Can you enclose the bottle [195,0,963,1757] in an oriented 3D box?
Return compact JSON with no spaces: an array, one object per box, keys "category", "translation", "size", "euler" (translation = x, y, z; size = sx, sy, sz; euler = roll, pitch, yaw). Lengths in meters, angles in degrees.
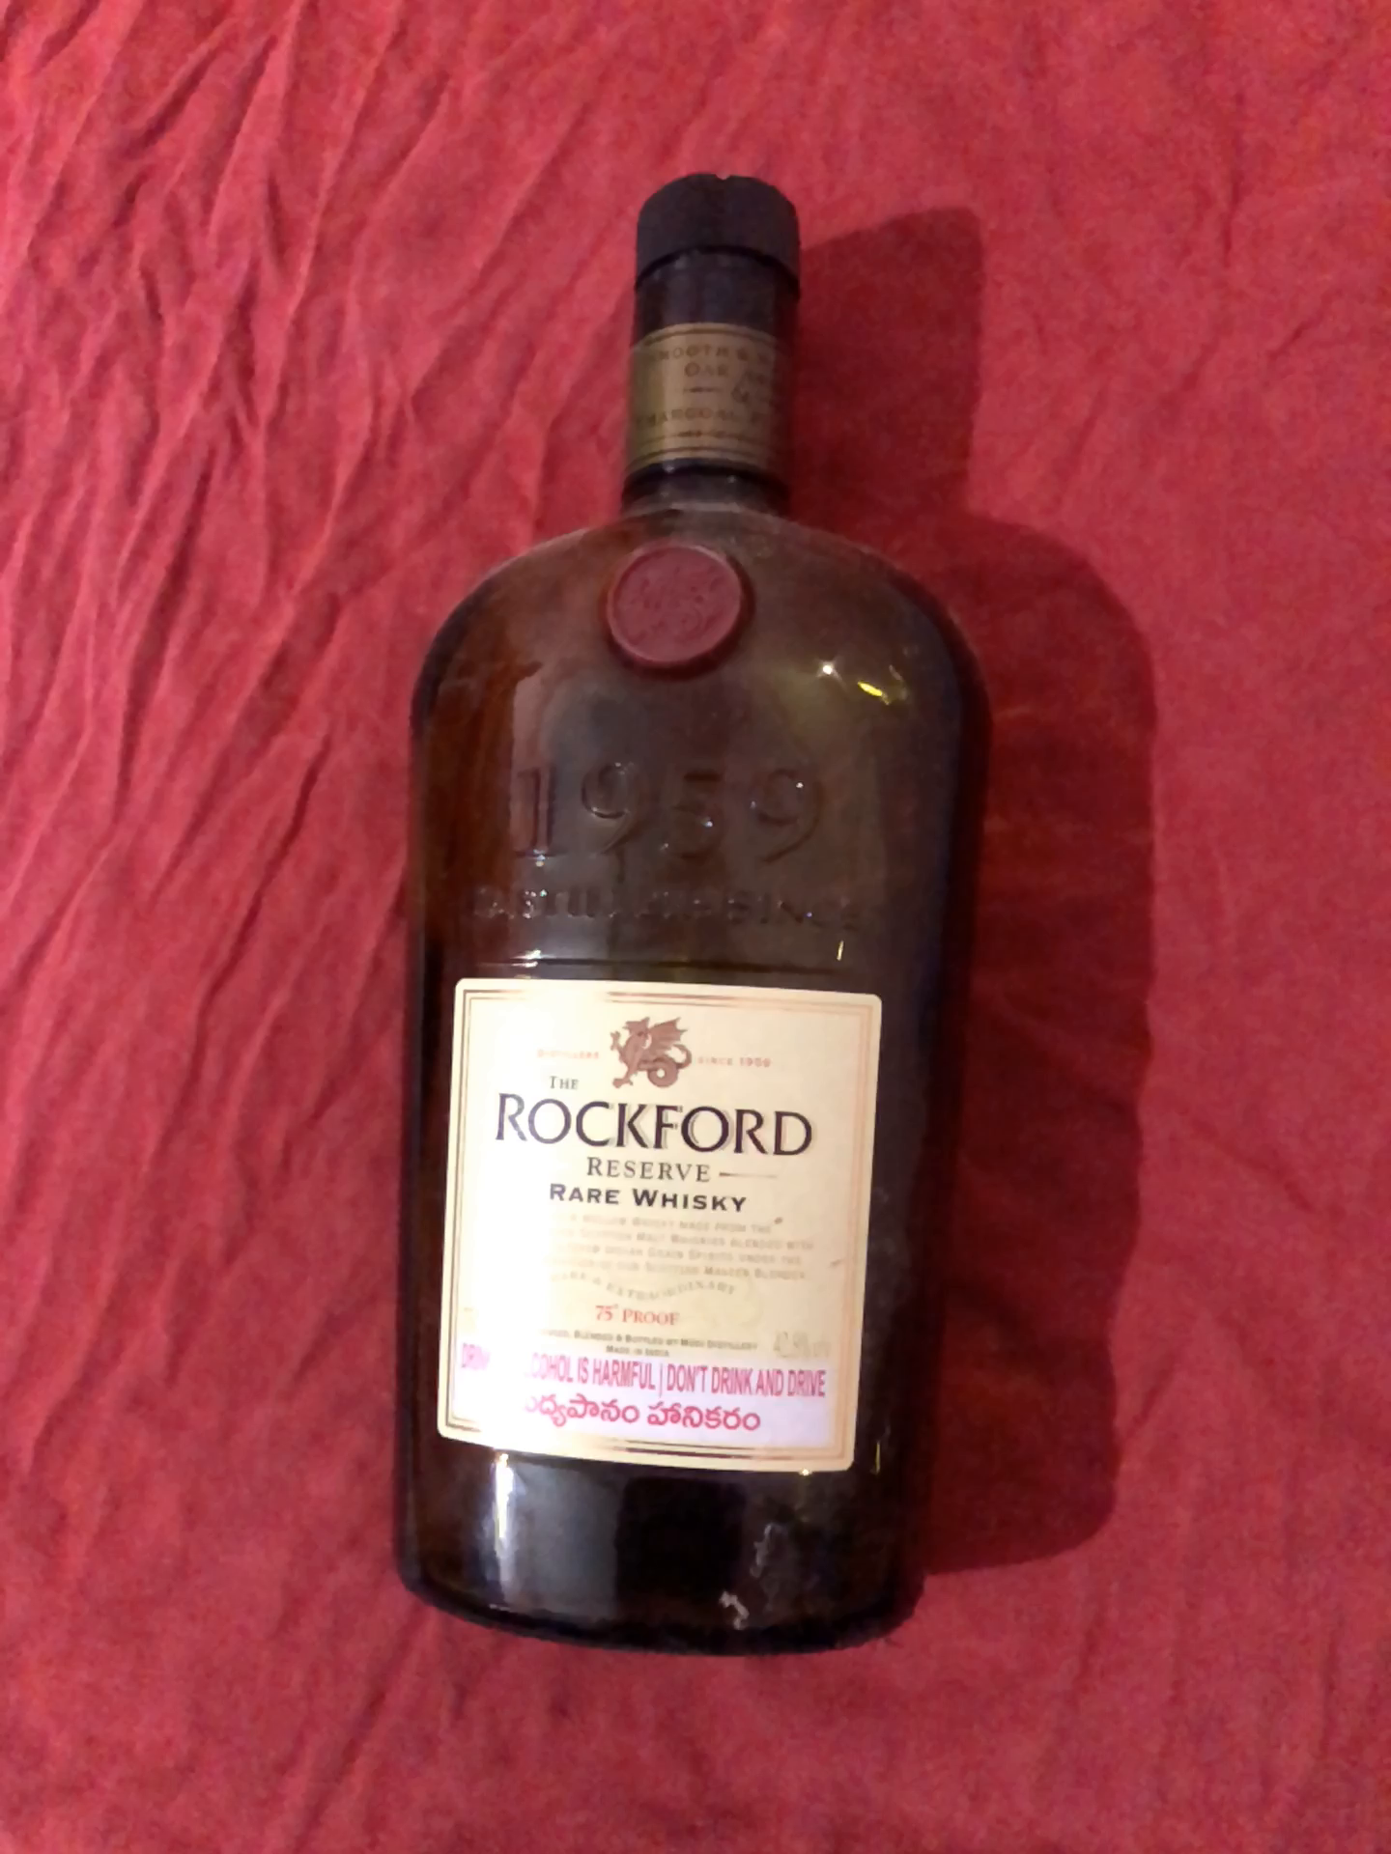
[{"category":"bottle","translation":[-0.010,-0.016,0.250],"size":[0.100,0.060,0.250],"euler":[1,84,10]}]
